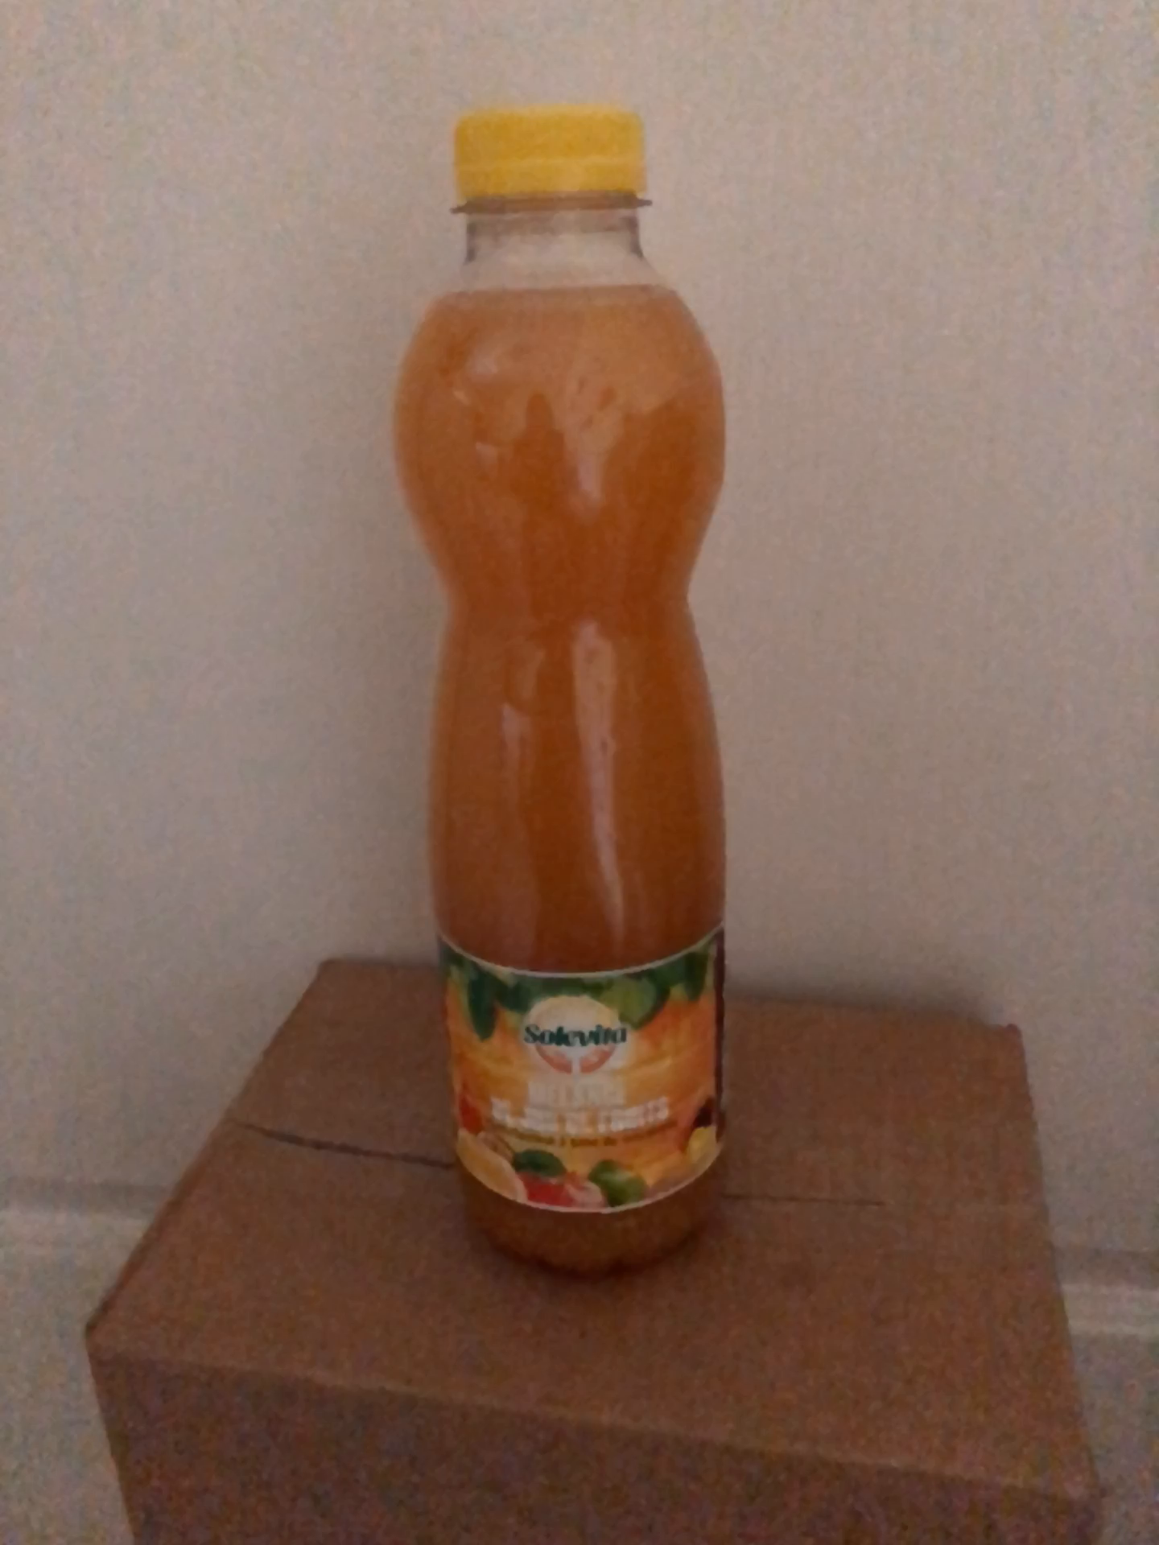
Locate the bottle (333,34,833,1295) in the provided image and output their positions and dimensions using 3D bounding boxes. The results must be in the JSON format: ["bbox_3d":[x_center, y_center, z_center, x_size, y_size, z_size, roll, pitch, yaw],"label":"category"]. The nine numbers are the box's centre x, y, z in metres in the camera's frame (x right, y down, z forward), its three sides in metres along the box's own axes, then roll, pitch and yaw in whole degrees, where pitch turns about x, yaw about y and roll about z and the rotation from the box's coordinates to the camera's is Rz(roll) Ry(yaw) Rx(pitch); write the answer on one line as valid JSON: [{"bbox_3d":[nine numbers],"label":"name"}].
[{"bbox_3d":[0.003,-0.011,0.302,0.080,0.278,0.080,-1,26,1],"label":"bottle"}]
